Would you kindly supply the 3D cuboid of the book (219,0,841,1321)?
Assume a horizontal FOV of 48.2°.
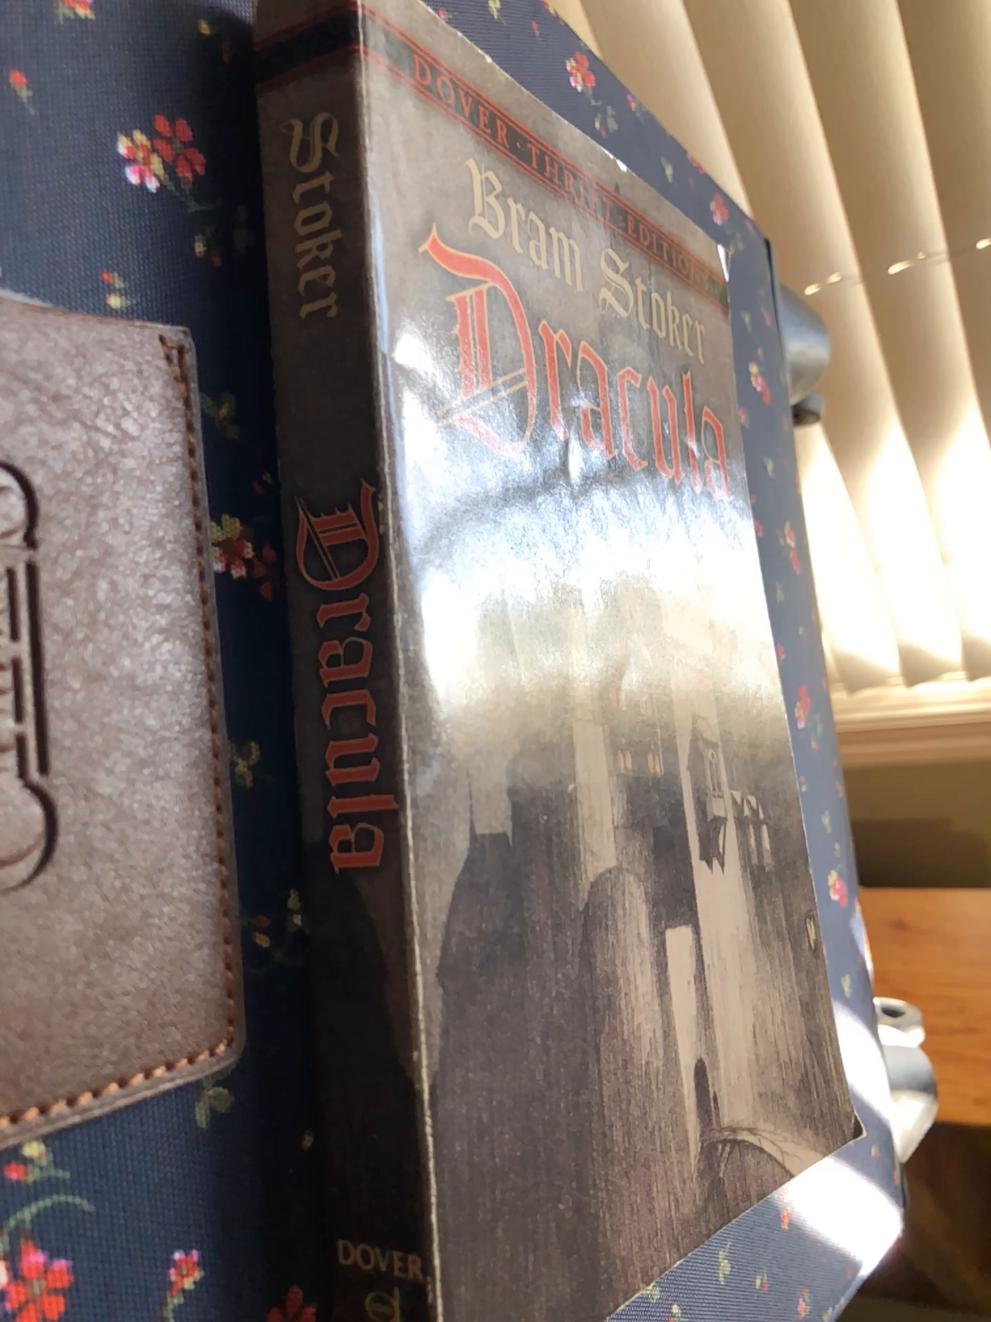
[{"bbox_3d":[0.016,0.004,0.210,0.131,0.033,0.202,4,79,-54],"label":"book"}]
